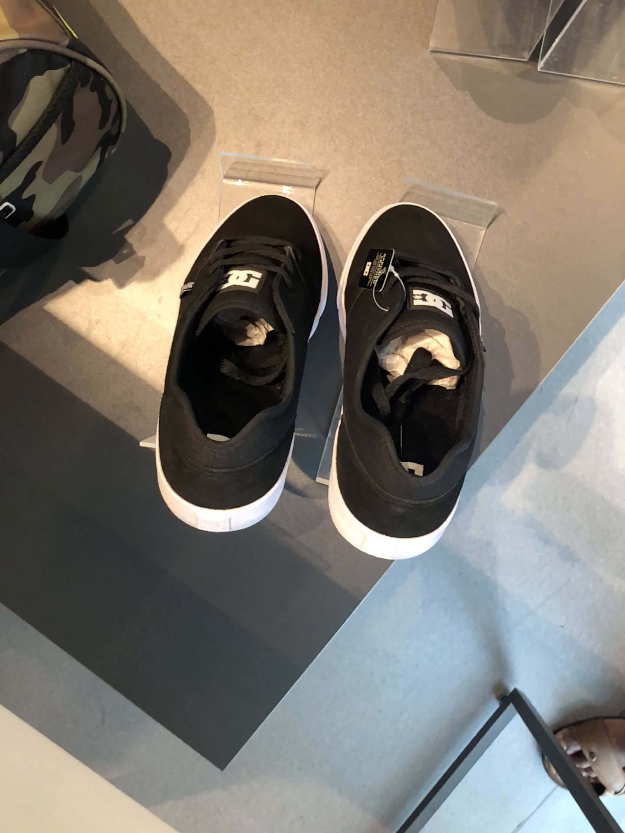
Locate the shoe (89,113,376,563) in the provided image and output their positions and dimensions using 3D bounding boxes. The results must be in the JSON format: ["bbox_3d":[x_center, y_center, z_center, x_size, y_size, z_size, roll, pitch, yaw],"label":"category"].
[{"bbox_3d":[-0.034,-0.050,0.405,0.106,0.107,0.229,10,59,-2],"label":"shoe"}]

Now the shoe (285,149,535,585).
[{"bbox_3d":[0.060,-0.034,0.421,0.106,0.107,0.229,11,59,-2],"label":"shoe"}]
